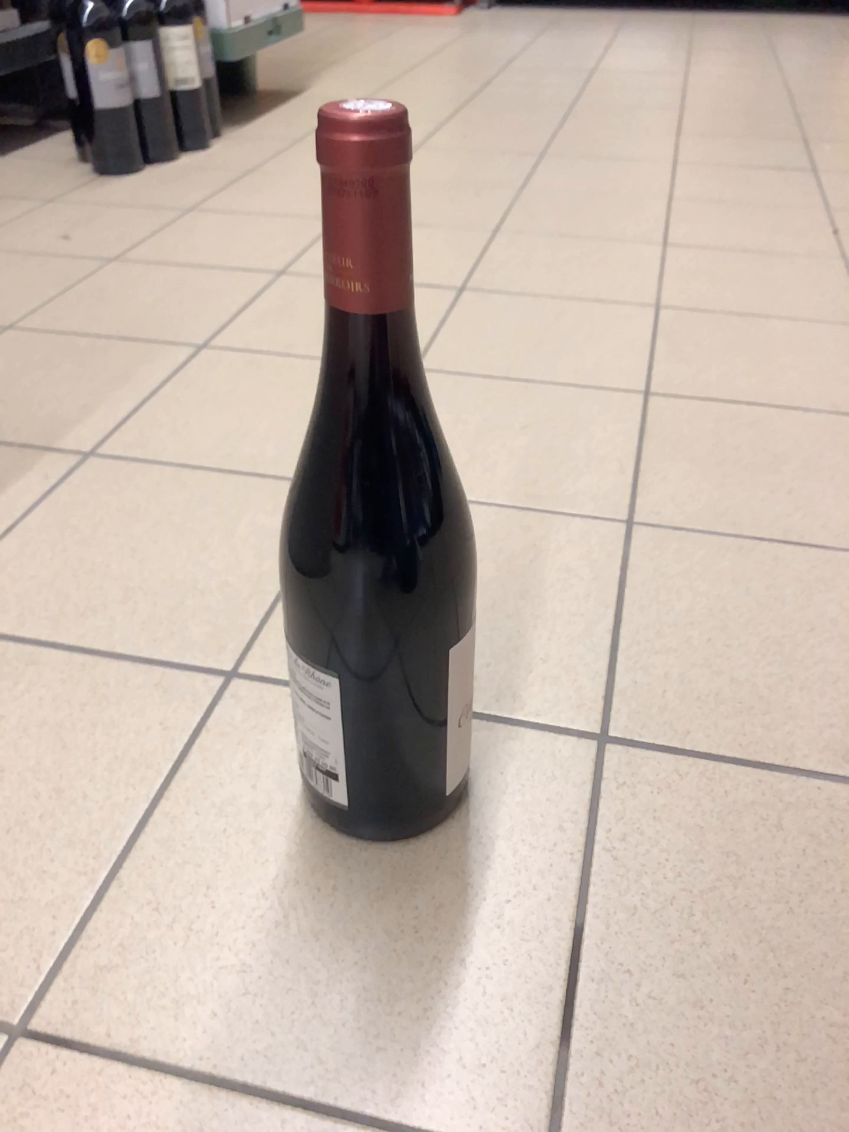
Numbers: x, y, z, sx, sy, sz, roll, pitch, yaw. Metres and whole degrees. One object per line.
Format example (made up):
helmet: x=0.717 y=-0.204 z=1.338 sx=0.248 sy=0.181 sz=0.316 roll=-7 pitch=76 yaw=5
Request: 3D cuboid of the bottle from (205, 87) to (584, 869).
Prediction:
bottle: x=-0.014 y=-0.019 z=0.348 sx=0.090 sy=0.268 sz=0.090 roll=0 pitch=36 yaw=0
